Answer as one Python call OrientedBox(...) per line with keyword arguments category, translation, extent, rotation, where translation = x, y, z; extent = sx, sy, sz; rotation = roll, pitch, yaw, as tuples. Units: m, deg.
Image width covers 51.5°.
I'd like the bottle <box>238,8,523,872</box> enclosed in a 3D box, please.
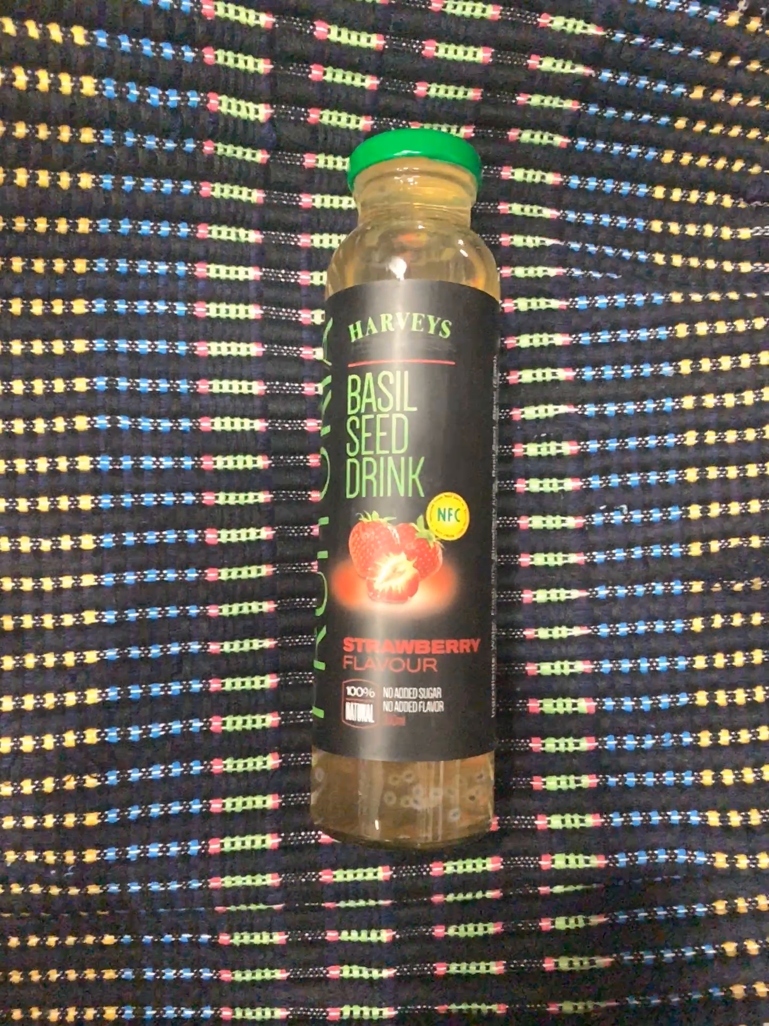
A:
OrientedBox(category="bottle", translation=(0.003, -0.021, 0.240), extent=(0.060, 0.060, 0.220), rotation=(-3, 82, 28))
